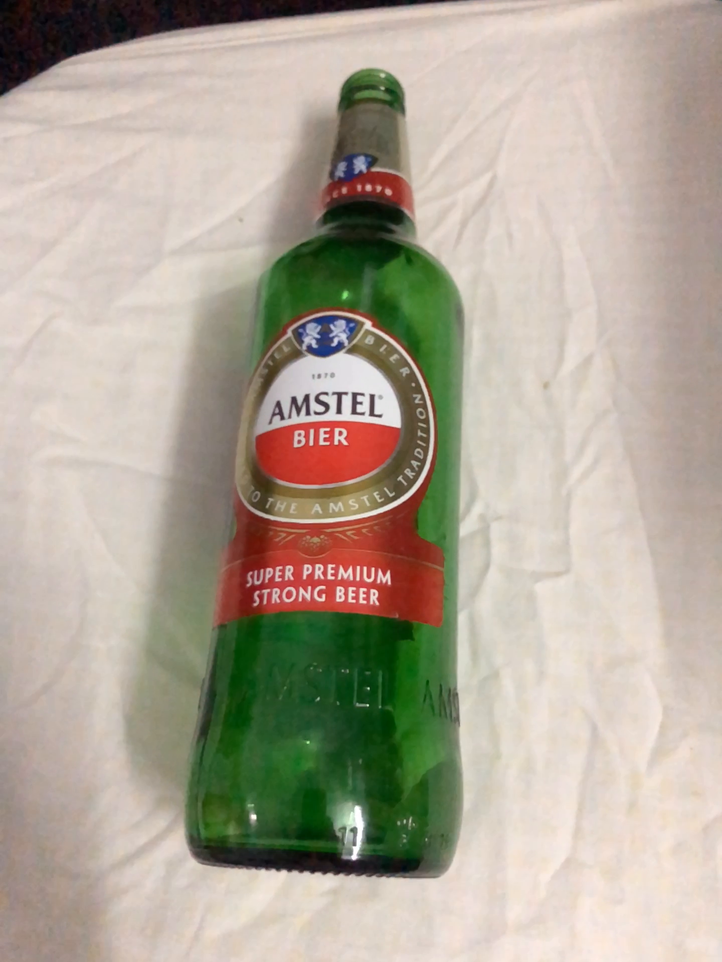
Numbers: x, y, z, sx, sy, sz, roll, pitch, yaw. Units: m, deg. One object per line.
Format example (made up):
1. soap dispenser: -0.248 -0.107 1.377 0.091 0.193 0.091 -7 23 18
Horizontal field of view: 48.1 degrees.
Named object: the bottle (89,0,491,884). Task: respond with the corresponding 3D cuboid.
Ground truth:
1. bottle: 0.001 -0.059 0.293 0.090 0.080 0.361 0 63 8
